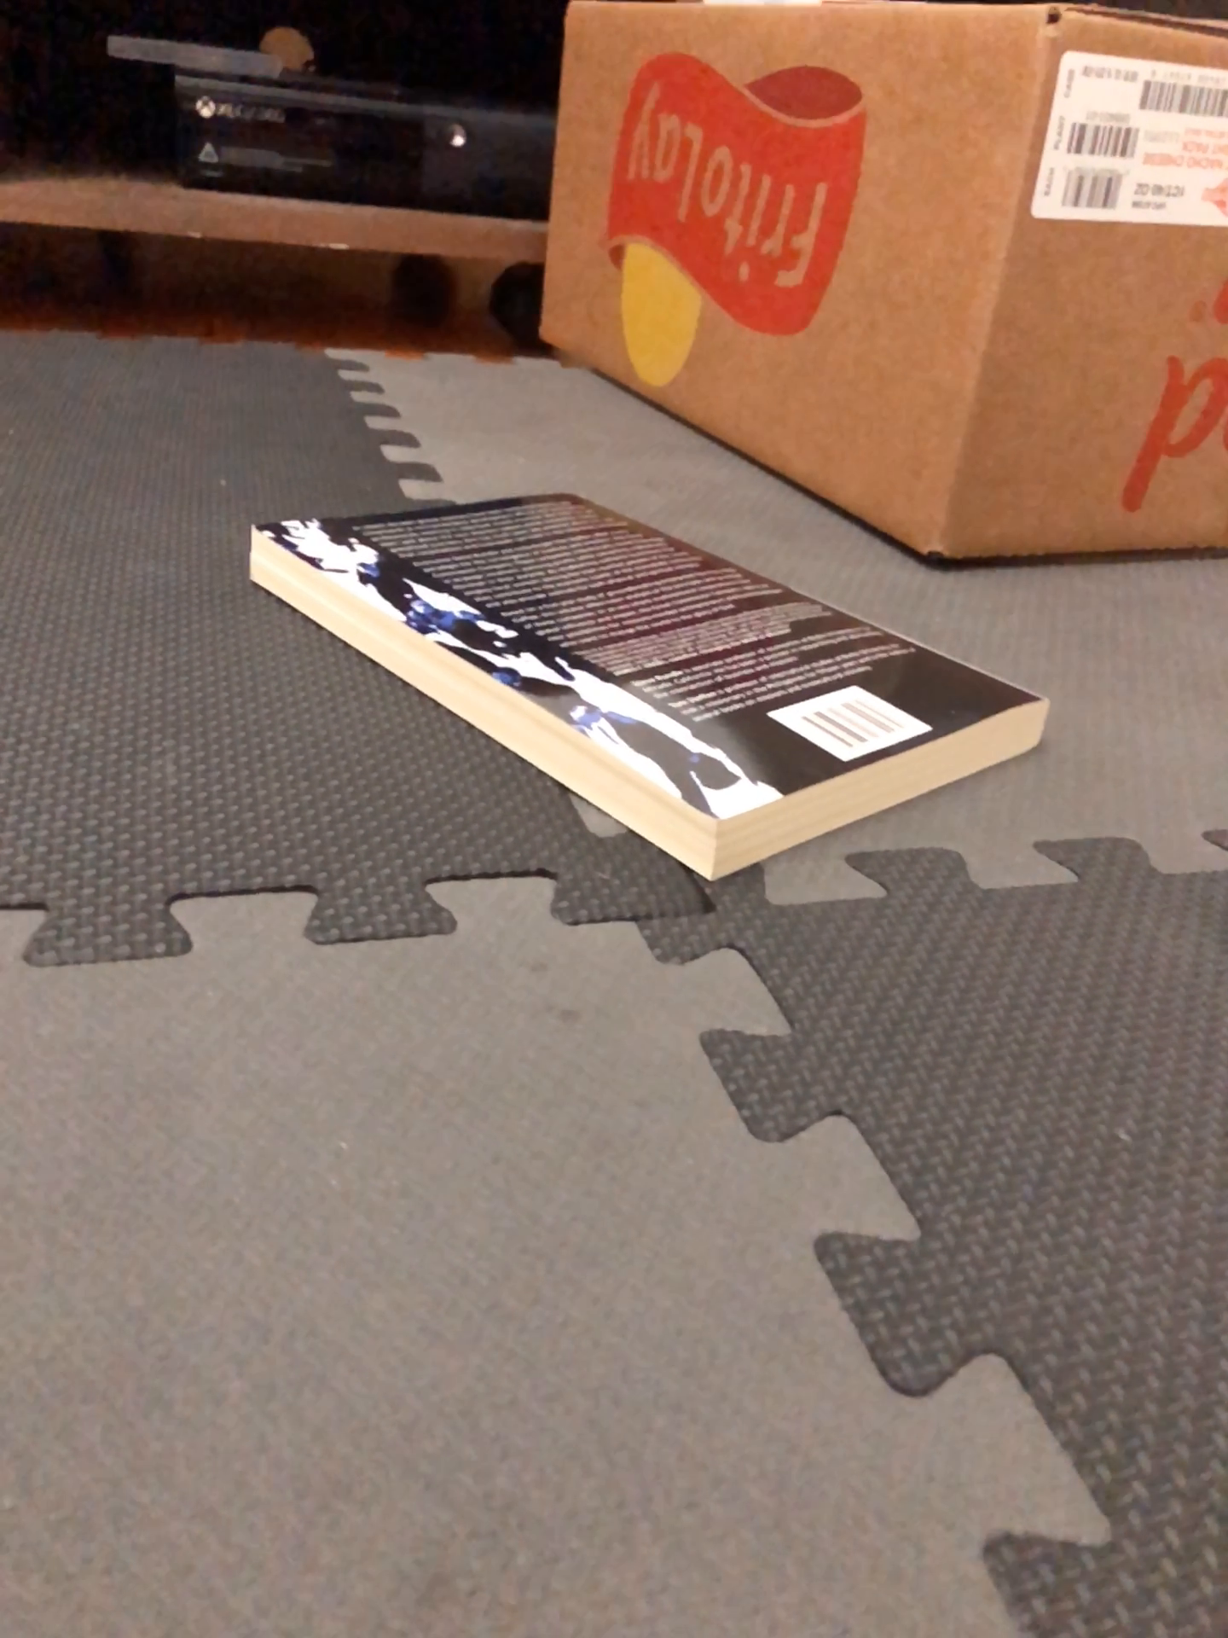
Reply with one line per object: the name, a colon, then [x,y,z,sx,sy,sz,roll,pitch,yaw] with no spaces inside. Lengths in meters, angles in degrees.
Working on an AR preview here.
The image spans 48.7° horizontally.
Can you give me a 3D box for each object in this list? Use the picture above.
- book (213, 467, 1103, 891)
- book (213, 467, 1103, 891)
book: [0.004,-0.060,0.410,0.150,0.020,0.231,-19,38,-39]
book: [0.004,-0.060,0.410,0.150,0.020,0.231,-19,38,-39]
